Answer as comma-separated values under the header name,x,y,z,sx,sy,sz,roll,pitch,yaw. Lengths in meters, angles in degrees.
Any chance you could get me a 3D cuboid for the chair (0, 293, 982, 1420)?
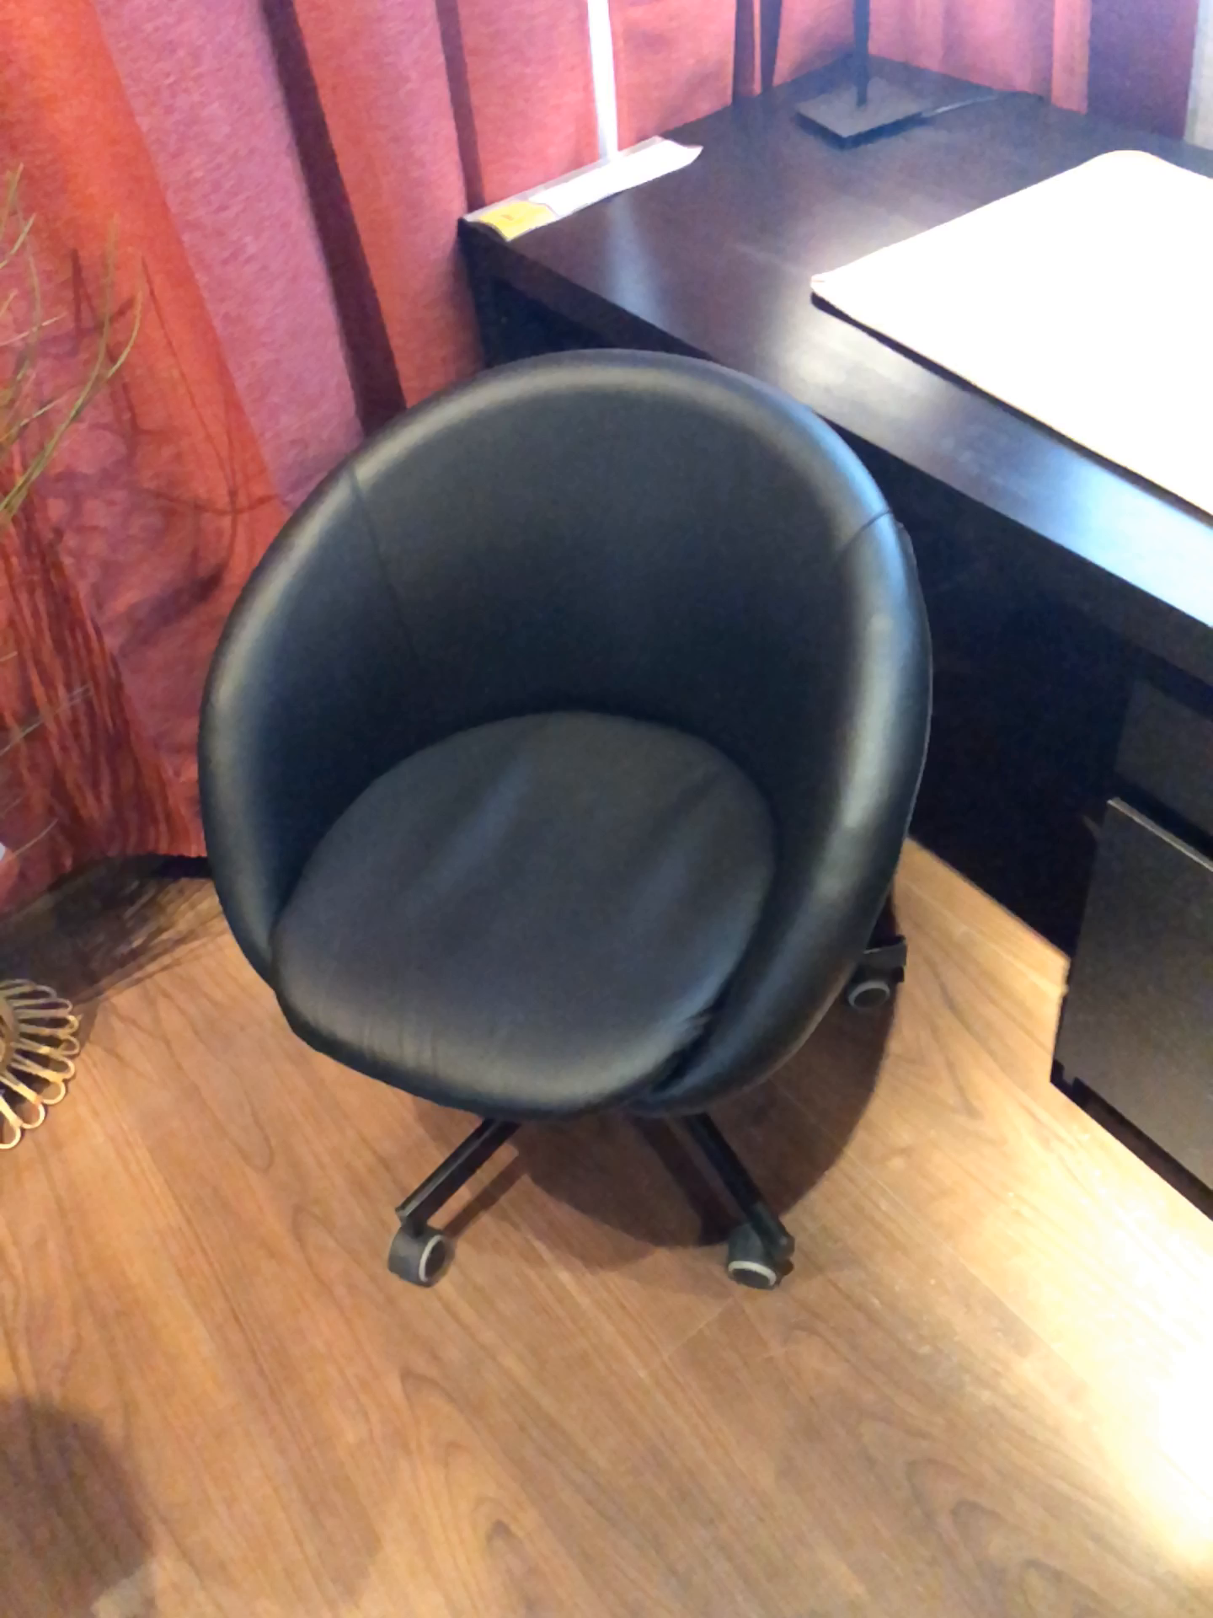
name,x,y,z,sx,sy,sz,roll,pitch,yaw
chair,-0.063,0.030,1.158,0.631,0.696,0.573,9,49,18
